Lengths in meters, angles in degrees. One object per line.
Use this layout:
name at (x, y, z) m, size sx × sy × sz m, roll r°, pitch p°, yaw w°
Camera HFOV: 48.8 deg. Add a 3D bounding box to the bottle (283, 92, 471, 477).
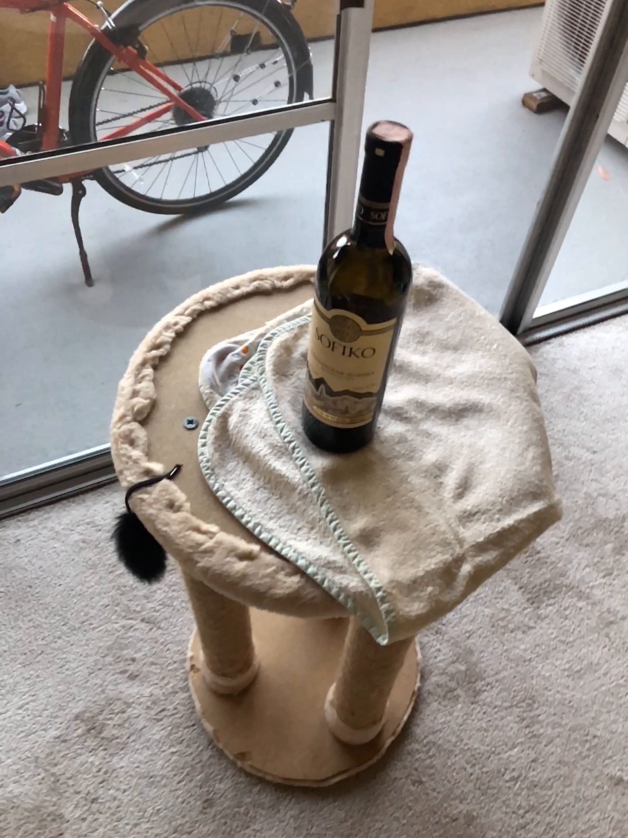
bottle at (0.033, -0.077, 0.504) m, size 0.080 × 0.269 × 0.080 m, roll 1°, pitch 52°, yaw -2°
